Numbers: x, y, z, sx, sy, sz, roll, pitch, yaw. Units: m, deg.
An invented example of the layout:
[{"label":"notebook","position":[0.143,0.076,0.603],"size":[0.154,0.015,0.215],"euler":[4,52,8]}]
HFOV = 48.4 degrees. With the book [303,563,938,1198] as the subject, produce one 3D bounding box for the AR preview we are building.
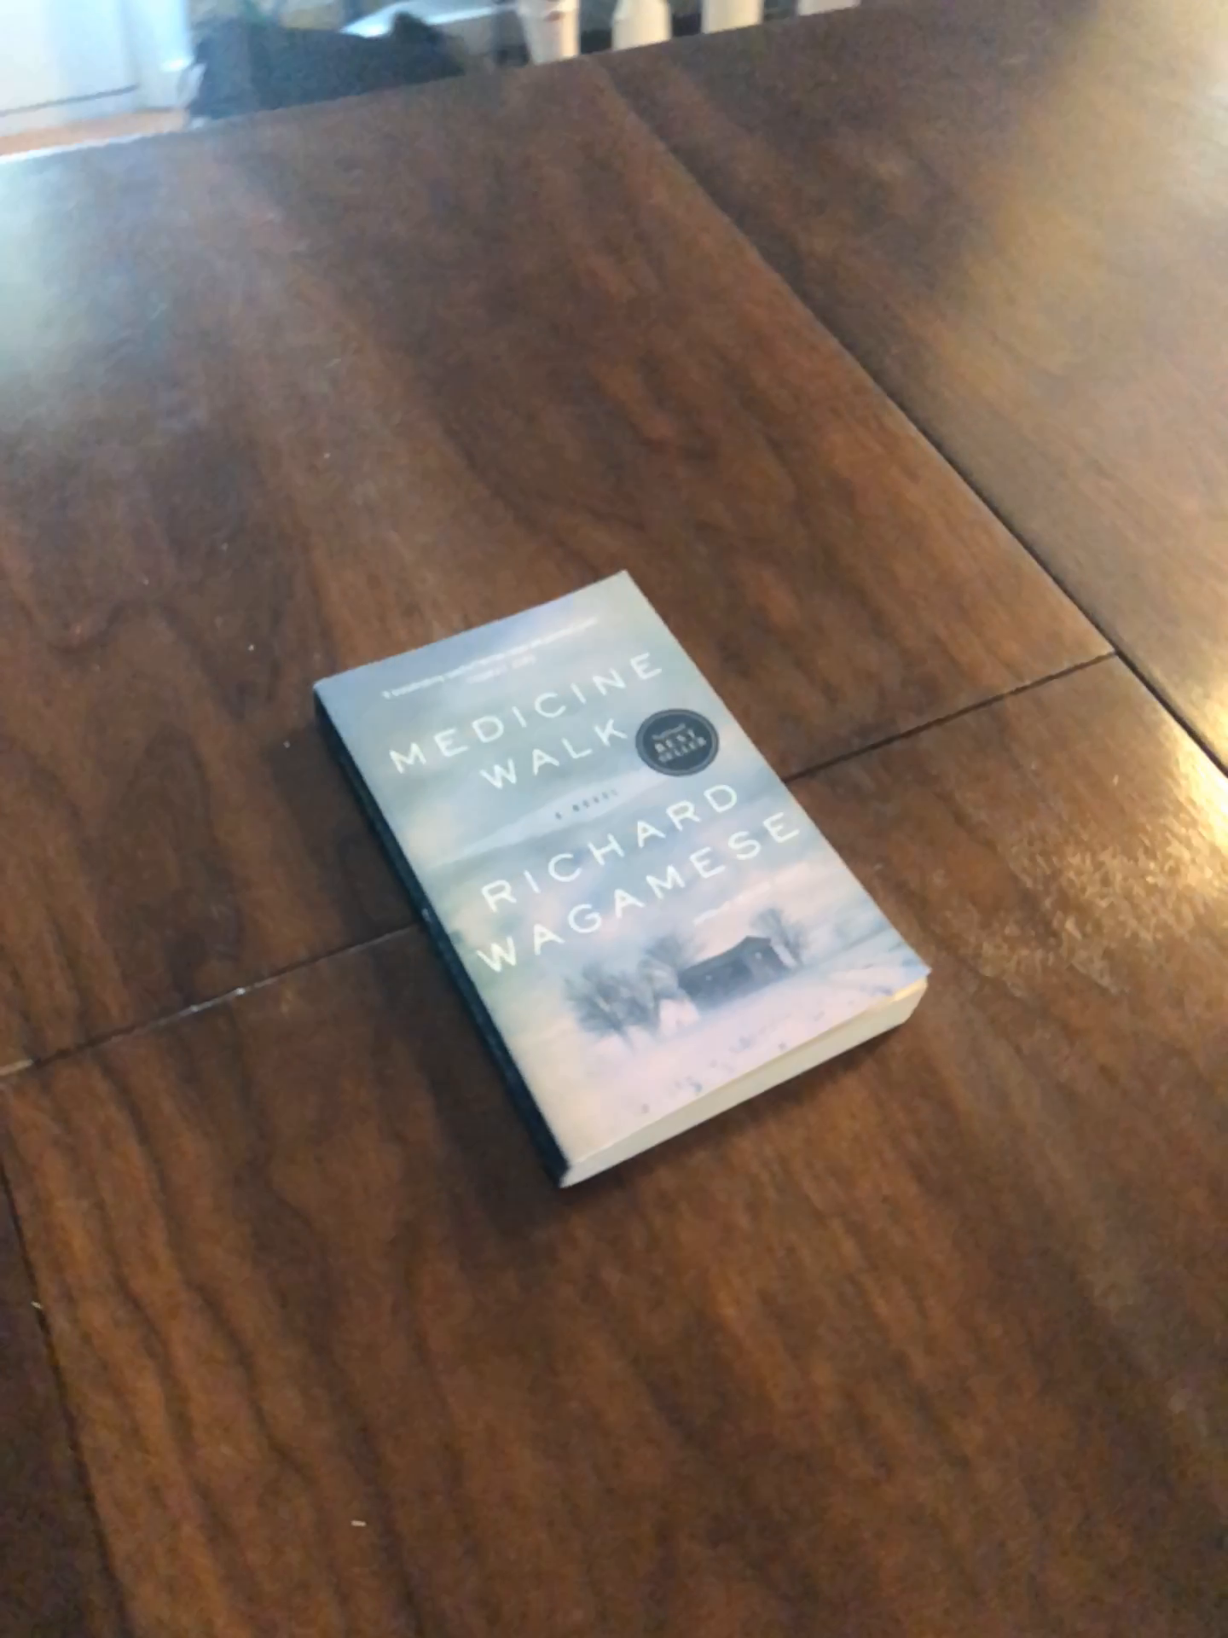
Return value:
[{"label":"book","position":[-0.005,0.008,0.481],"size":[0.138,0.027,0.206],"euler":[-22,60,-19]}]
